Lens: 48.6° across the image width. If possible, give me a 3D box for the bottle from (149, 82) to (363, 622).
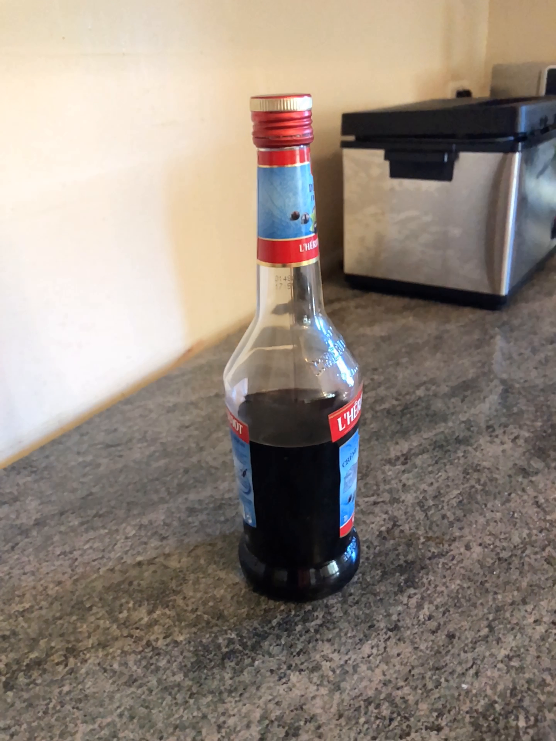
[{"bbox_3d":[-0.003,-0.003,0.364,0.090,0.298,0.090,-3,24,1],"label":"bottle"}]
